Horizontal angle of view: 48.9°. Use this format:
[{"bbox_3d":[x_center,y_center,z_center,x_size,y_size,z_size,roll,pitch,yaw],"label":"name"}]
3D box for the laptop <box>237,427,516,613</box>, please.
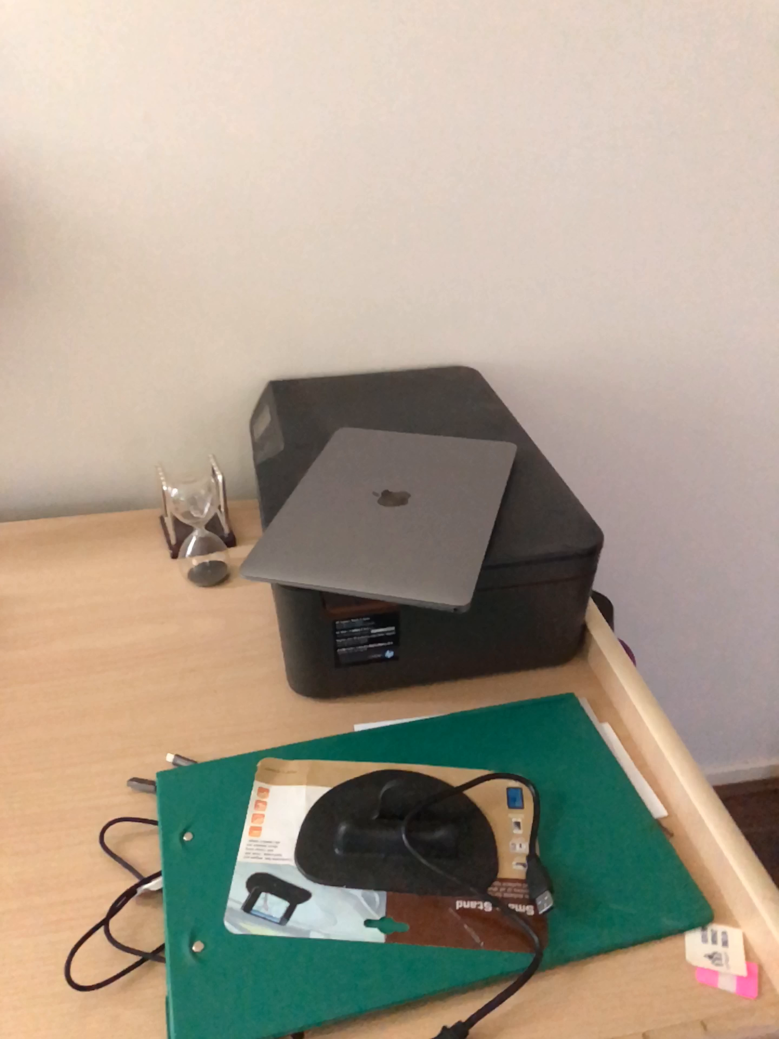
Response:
[{"bbox_3d":[0.002,-0.013,0.785,0.188,0.007,0.267,6,34,15],"label":"laptop"}]
